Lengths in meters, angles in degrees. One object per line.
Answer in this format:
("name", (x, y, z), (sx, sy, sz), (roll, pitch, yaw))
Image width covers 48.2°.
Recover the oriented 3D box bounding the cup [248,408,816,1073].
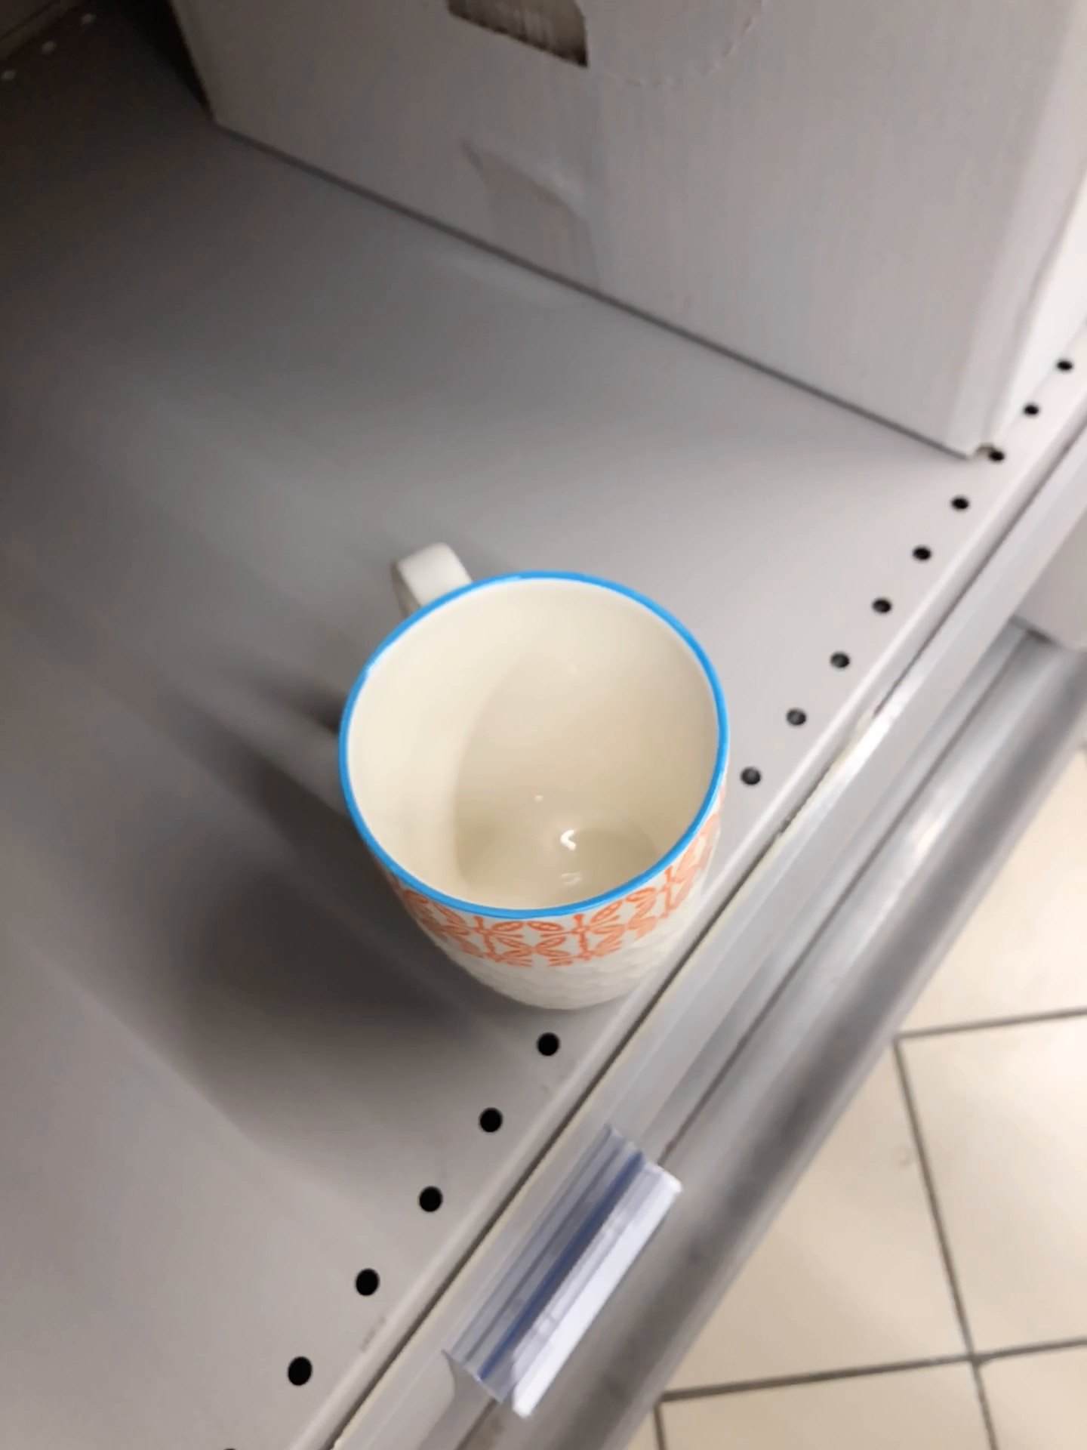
("cup", (-0.004, 0.006, 0.315), (0.091, 0.096, 0.117), (-22, 62, -7))
